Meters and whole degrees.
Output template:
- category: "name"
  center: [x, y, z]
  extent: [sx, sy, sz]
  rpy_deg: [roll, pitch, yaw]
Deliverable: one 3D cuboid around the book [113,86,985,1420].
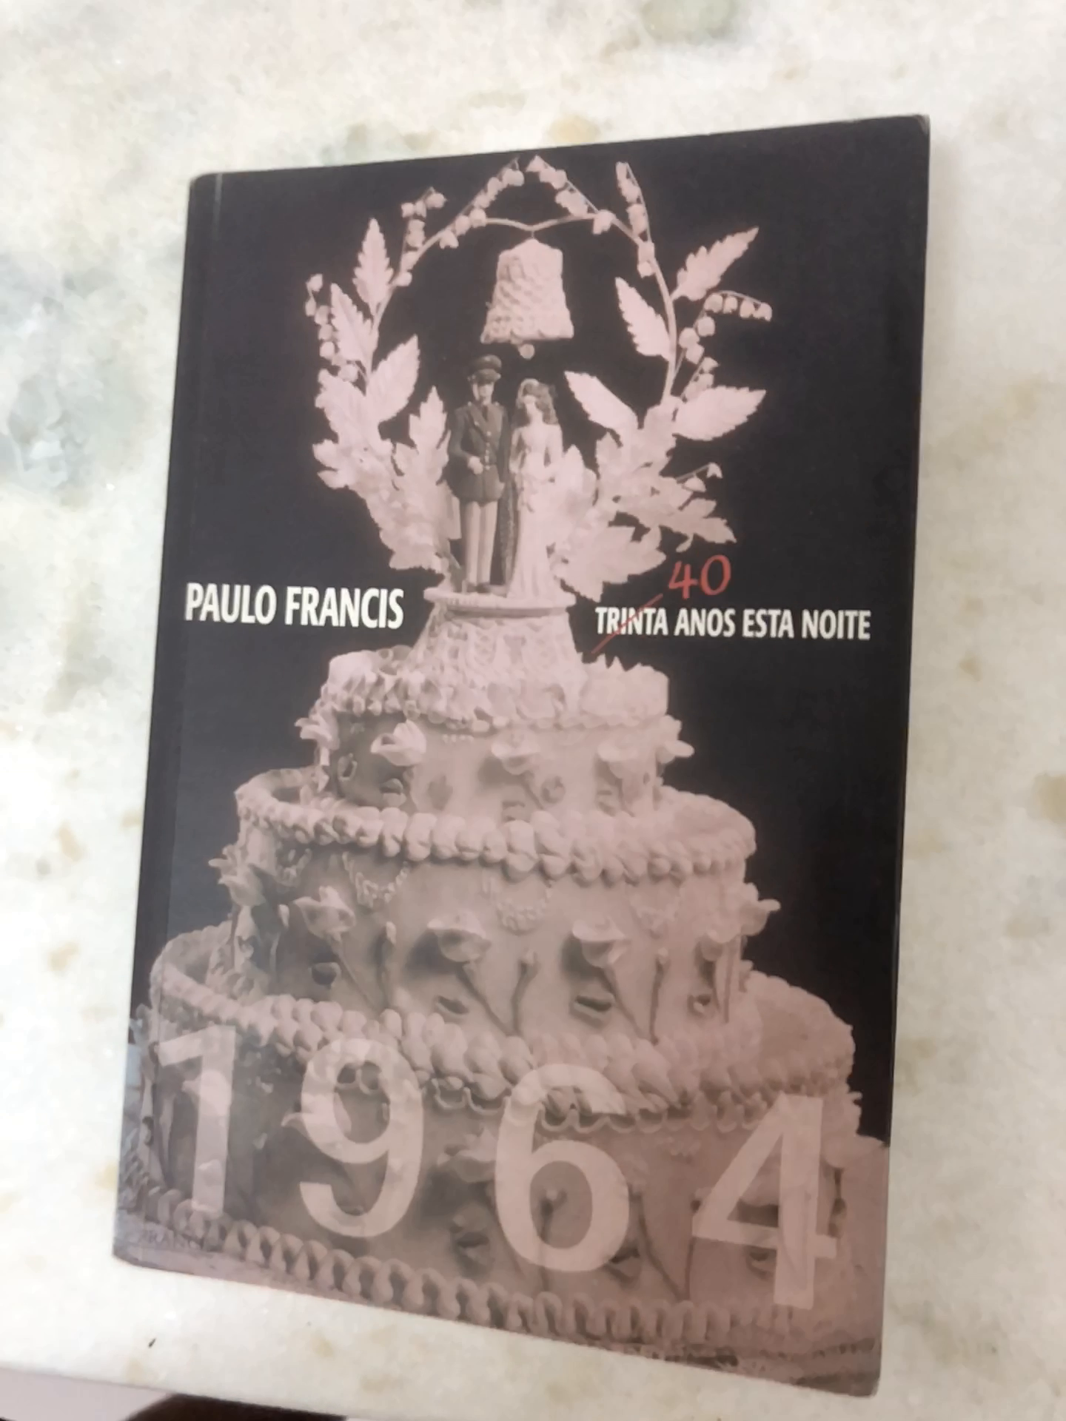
- category: "book"
  center: [0.000, 0.004, 0.207]
  extent: [0.140, 0.020, 0.203]
  rpy_deg: [2, 88, 15]
